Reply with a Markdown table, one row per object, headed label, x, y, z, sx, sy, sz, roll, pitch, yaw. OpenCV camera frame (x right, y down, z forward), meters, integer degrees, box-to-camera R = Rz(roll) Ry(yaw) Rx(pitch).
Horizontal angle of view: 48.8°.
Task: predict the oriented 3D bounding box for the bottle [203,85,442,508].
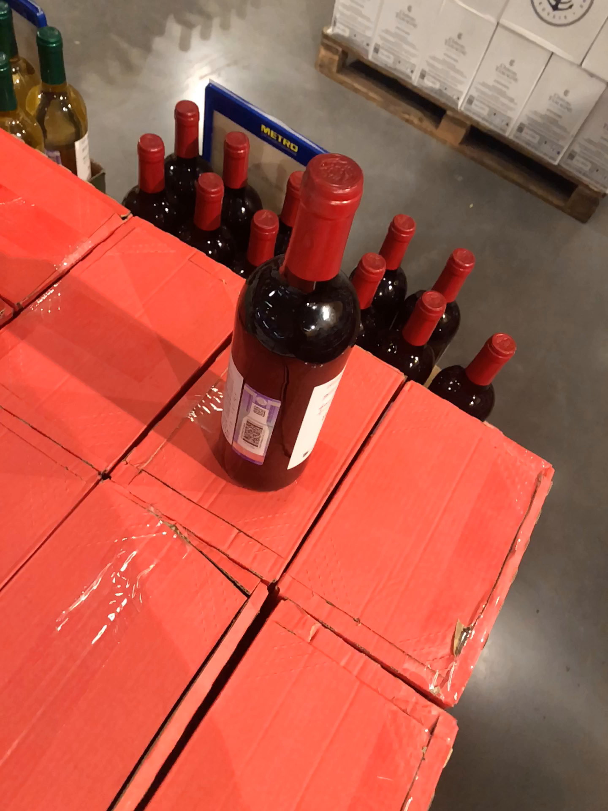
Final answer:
| label | x | y | z | sx | sy | sz | roll | pitch | yaw |
| --- | --- | --- | --- | --- | --- | --- | --- | --- | --- |
| bottle | -0.010 | -0.036 | 0.421 | 0.080 | 0.287 | 0.090 | 6 | 58 | -10 |
